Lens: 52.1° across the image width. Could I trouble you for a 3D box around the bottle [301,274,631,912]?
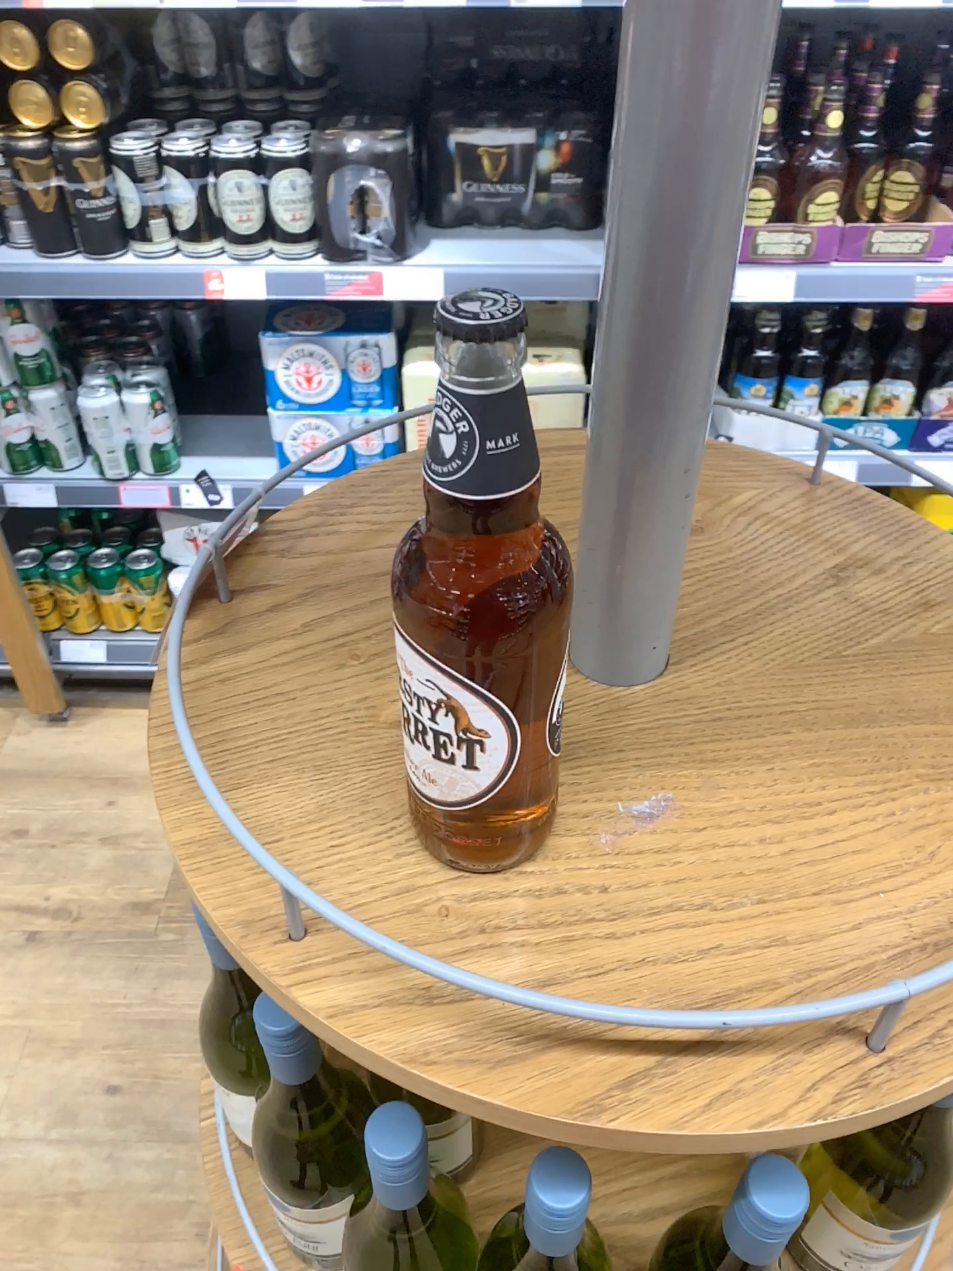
[{"bbox_3d":[-0.004,-0.003,0.370,0.076,0.231,0.069,0,41,0],"label":"bottle"}]
